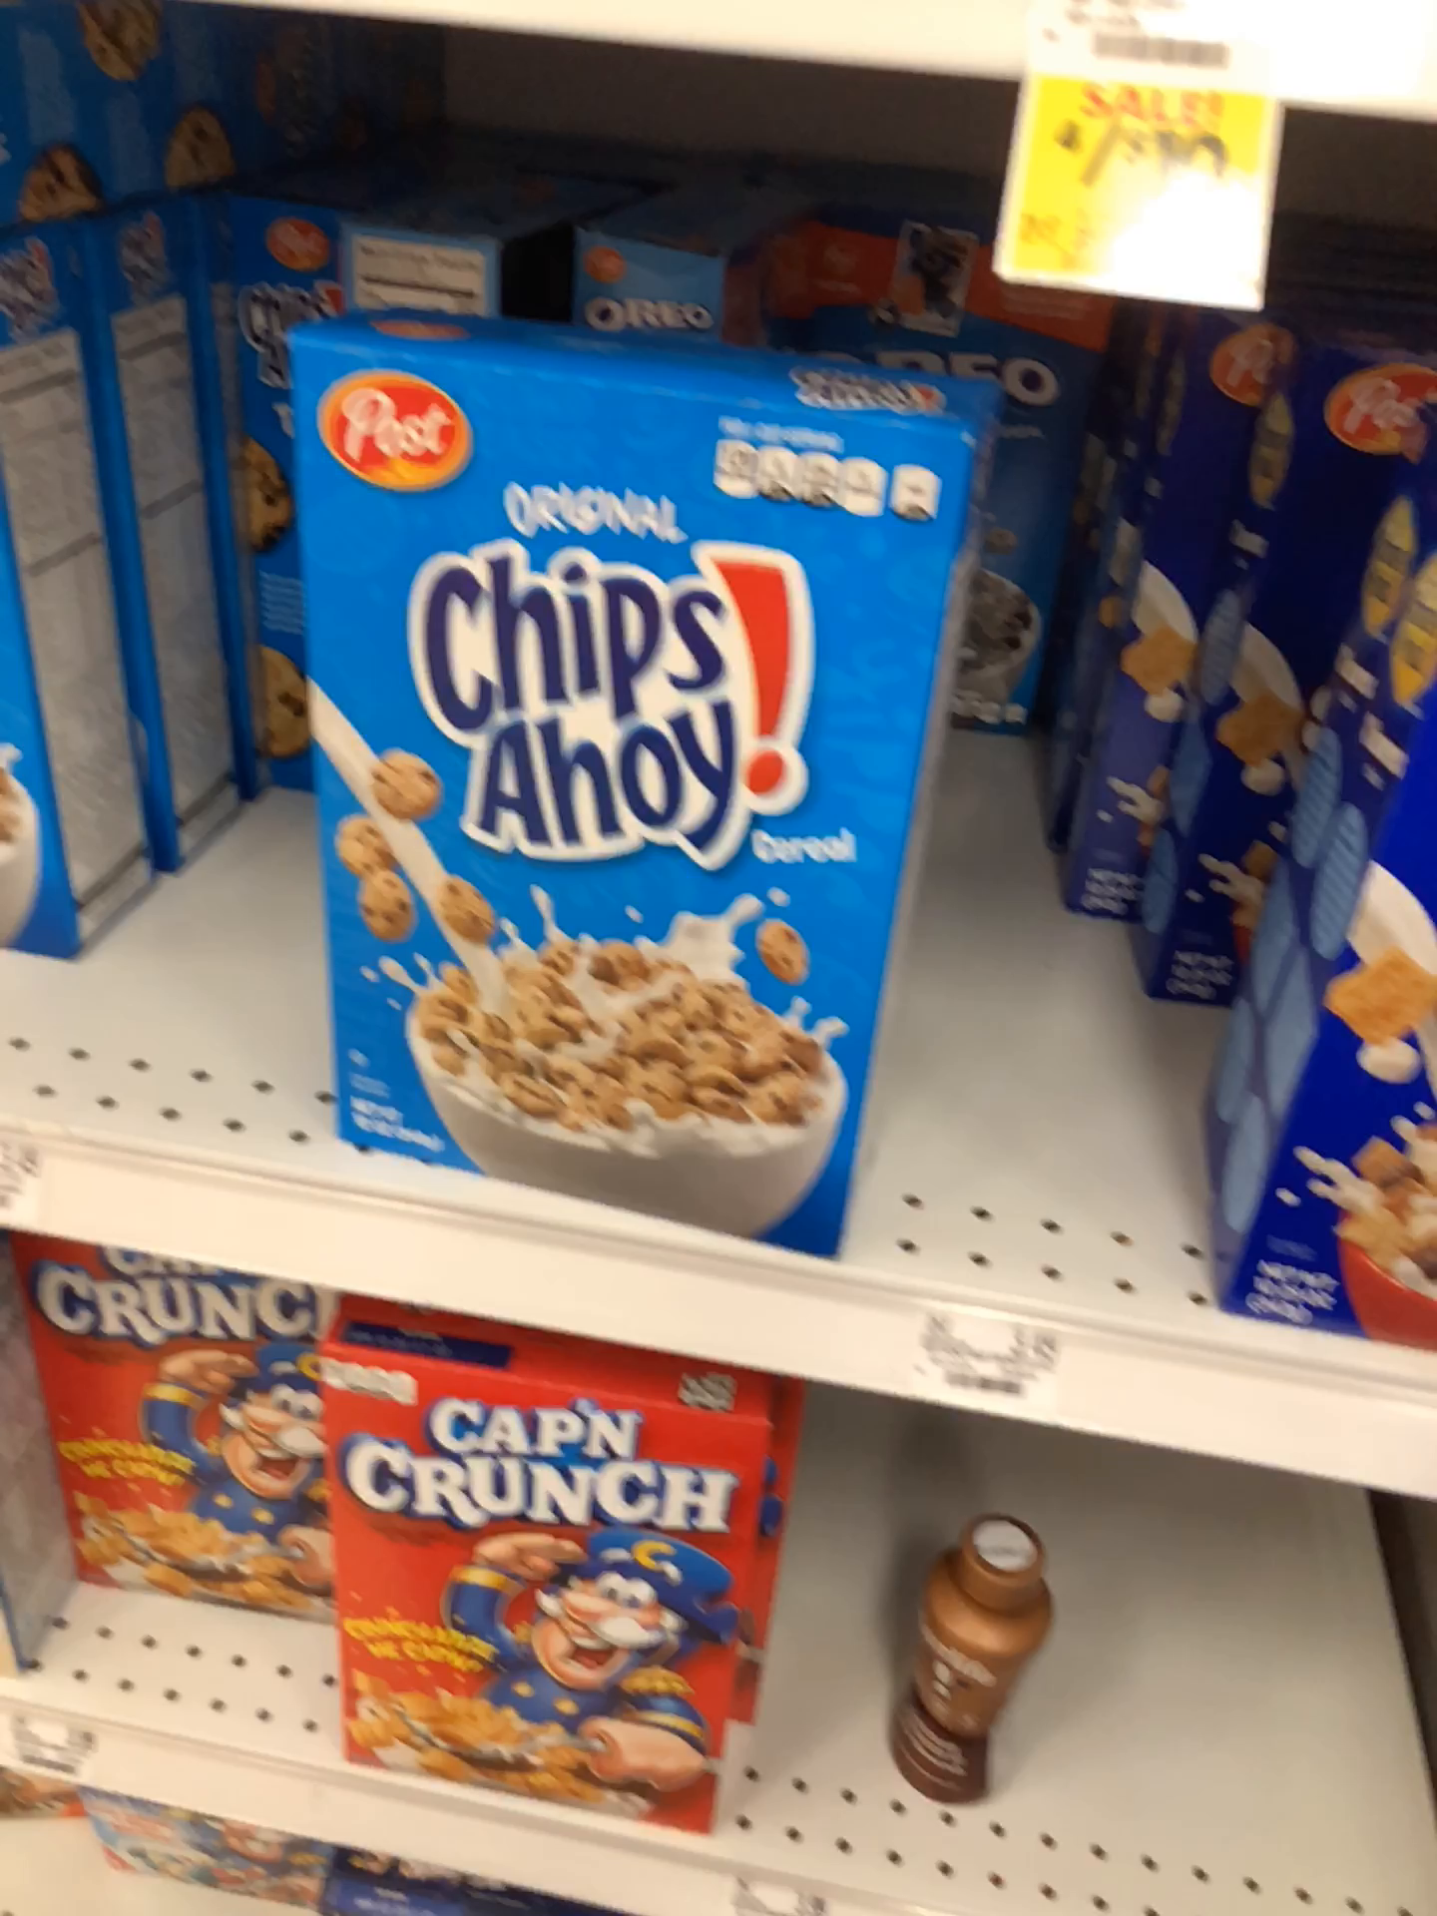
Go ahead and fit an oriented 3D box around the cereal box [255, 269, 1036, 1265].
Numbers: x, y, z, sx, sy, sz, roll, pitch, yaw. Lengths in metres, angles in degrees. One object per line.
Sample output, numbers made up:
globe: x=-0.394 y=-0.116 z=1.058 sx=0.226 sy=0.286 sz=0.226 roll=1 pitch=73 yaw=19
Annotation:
cereal box: x=-0.026 y=-0.054 z=0.482 sx=0.190 sy=0.259 sz=0.080 roll=12 pitch=31 yaw=11
